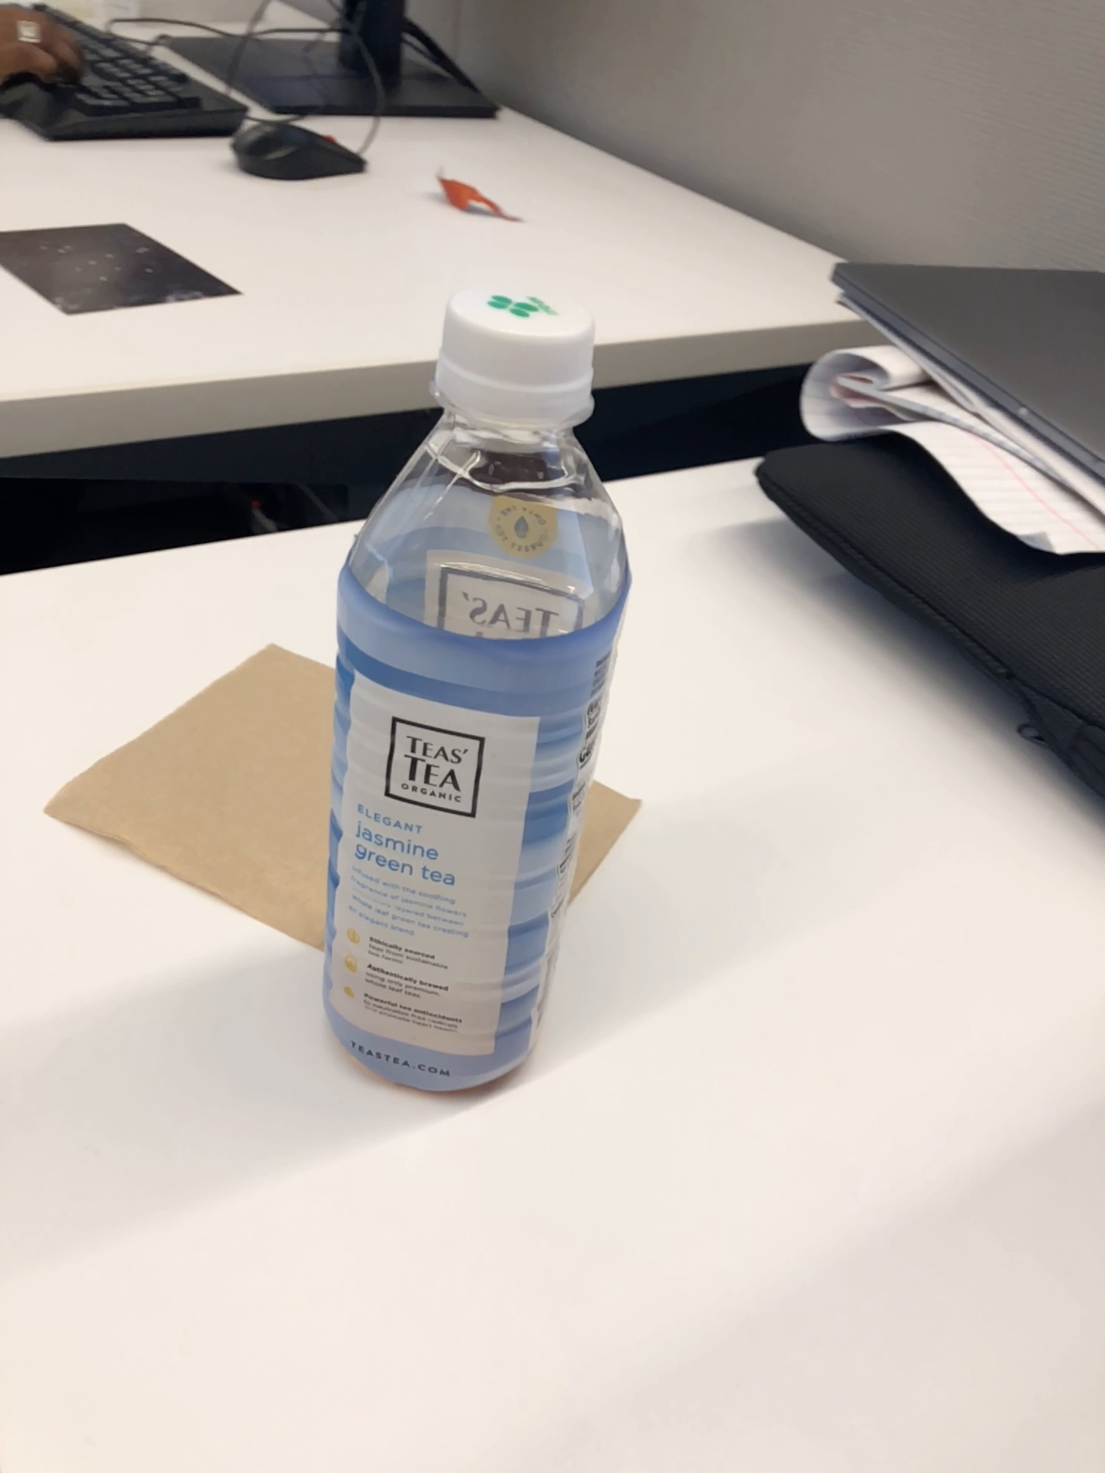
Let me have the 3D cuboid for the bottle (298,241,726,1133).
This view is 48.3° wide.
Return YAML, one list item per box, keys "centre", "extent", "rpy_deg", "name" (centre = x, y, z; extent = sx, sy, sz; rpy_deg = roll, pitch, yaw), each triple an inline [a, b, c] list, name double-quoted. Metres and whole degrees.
- centre: [-0.016, -0.003, 0.312]
  extent: [0.070, 0.209, 0.070]
  rpy_deg: [6, 35, -4]
  name: "bottle"
